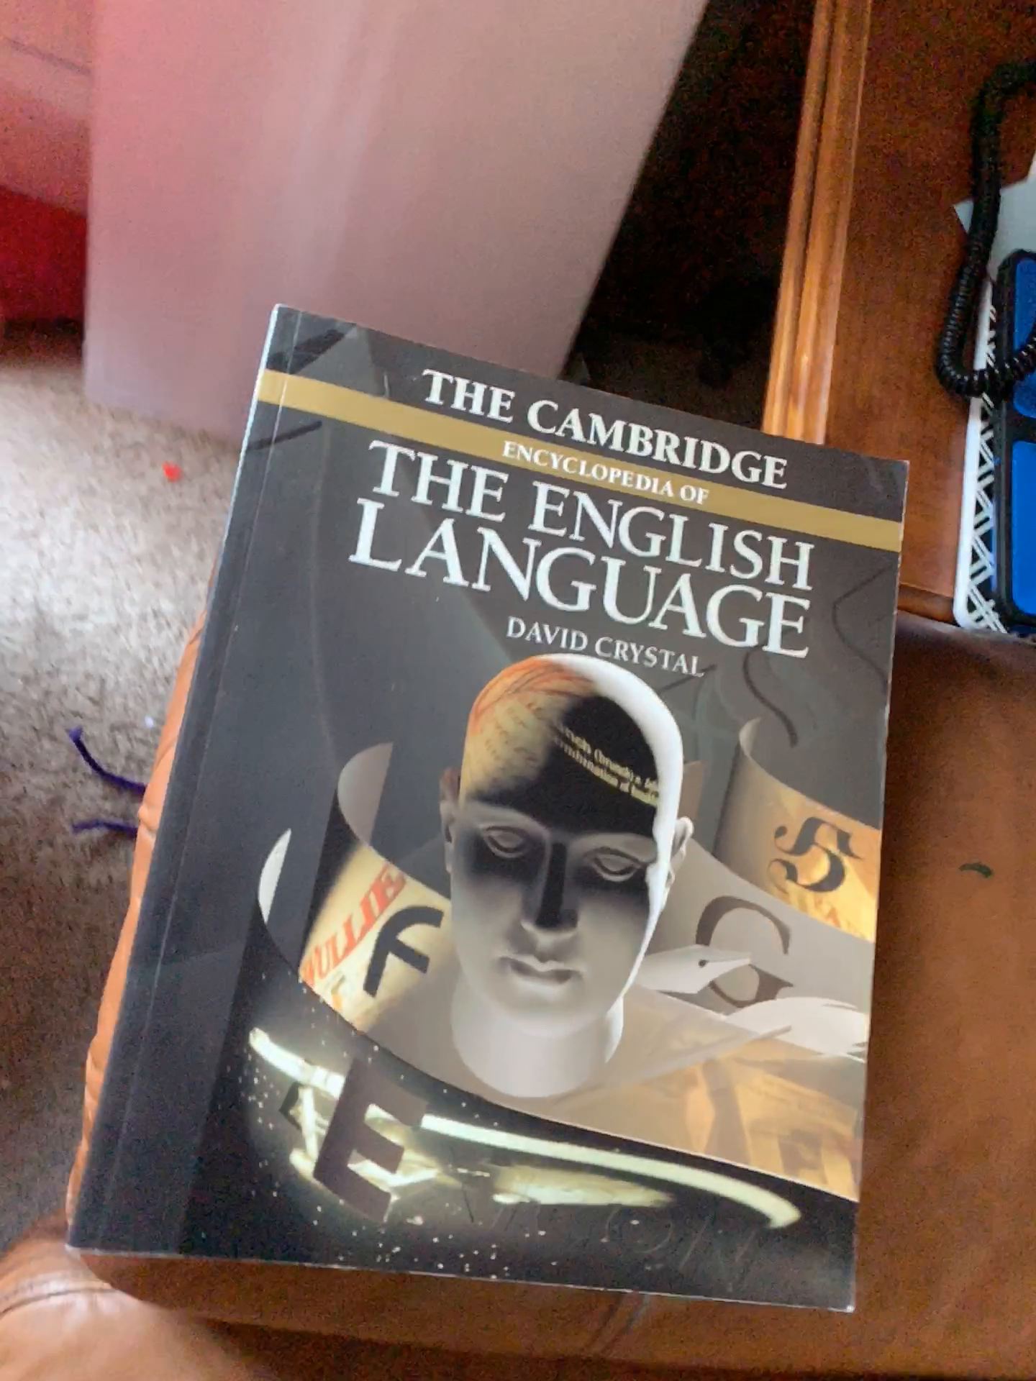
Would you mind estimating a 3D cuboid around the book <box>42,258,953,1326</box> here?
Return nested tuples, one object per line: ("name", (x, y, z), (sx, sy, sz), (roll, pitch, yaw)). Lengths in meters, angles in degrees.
("book", (0.014, 0.031, 0.339), (0.240, 0.050, 0.280), (12, 75, -13))
